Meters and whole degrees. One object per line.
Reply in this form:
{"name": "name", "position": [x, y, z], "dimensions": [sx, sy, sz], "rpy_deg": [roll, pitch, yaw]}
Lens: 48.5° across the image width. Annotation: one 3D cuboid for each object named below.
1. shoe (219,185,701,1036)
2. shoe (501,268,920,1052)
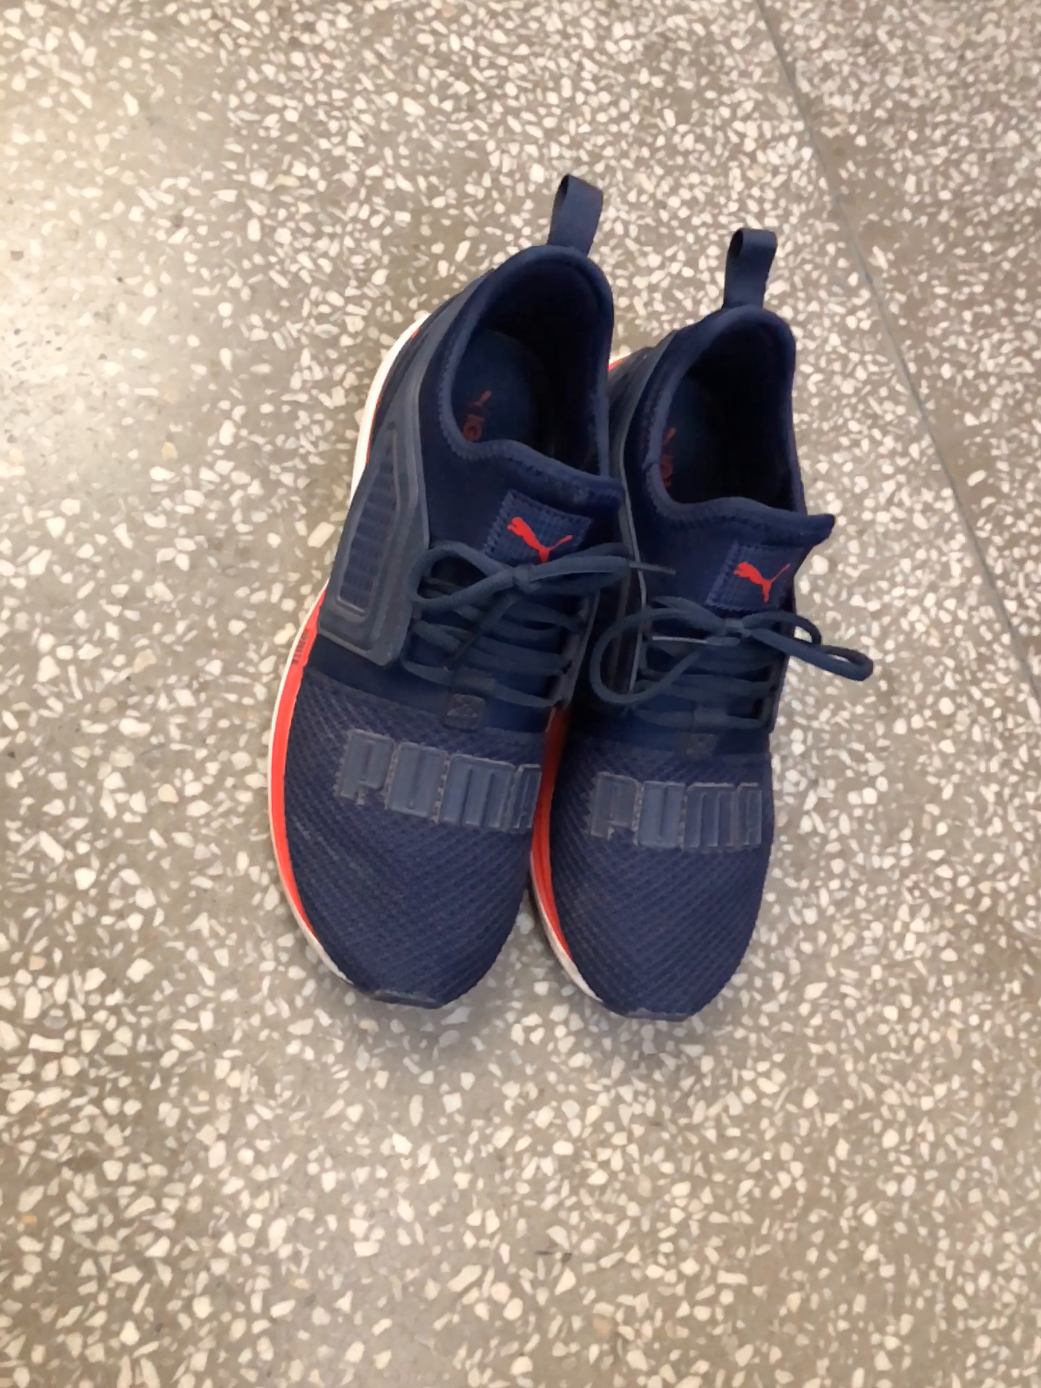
{"name": "shoe", "position": [-0.022, -0.021, 0.413], "dimensions": [0.107, 0.113, 0.257], "rpy_deg": [13, 74, -16]}
{"name": "shoe", "position": [0.072, -0.005, 0.441], "dimensions": [0.107, 0.113, 0.257], "rpy_deg": [10, 75, -17]}
